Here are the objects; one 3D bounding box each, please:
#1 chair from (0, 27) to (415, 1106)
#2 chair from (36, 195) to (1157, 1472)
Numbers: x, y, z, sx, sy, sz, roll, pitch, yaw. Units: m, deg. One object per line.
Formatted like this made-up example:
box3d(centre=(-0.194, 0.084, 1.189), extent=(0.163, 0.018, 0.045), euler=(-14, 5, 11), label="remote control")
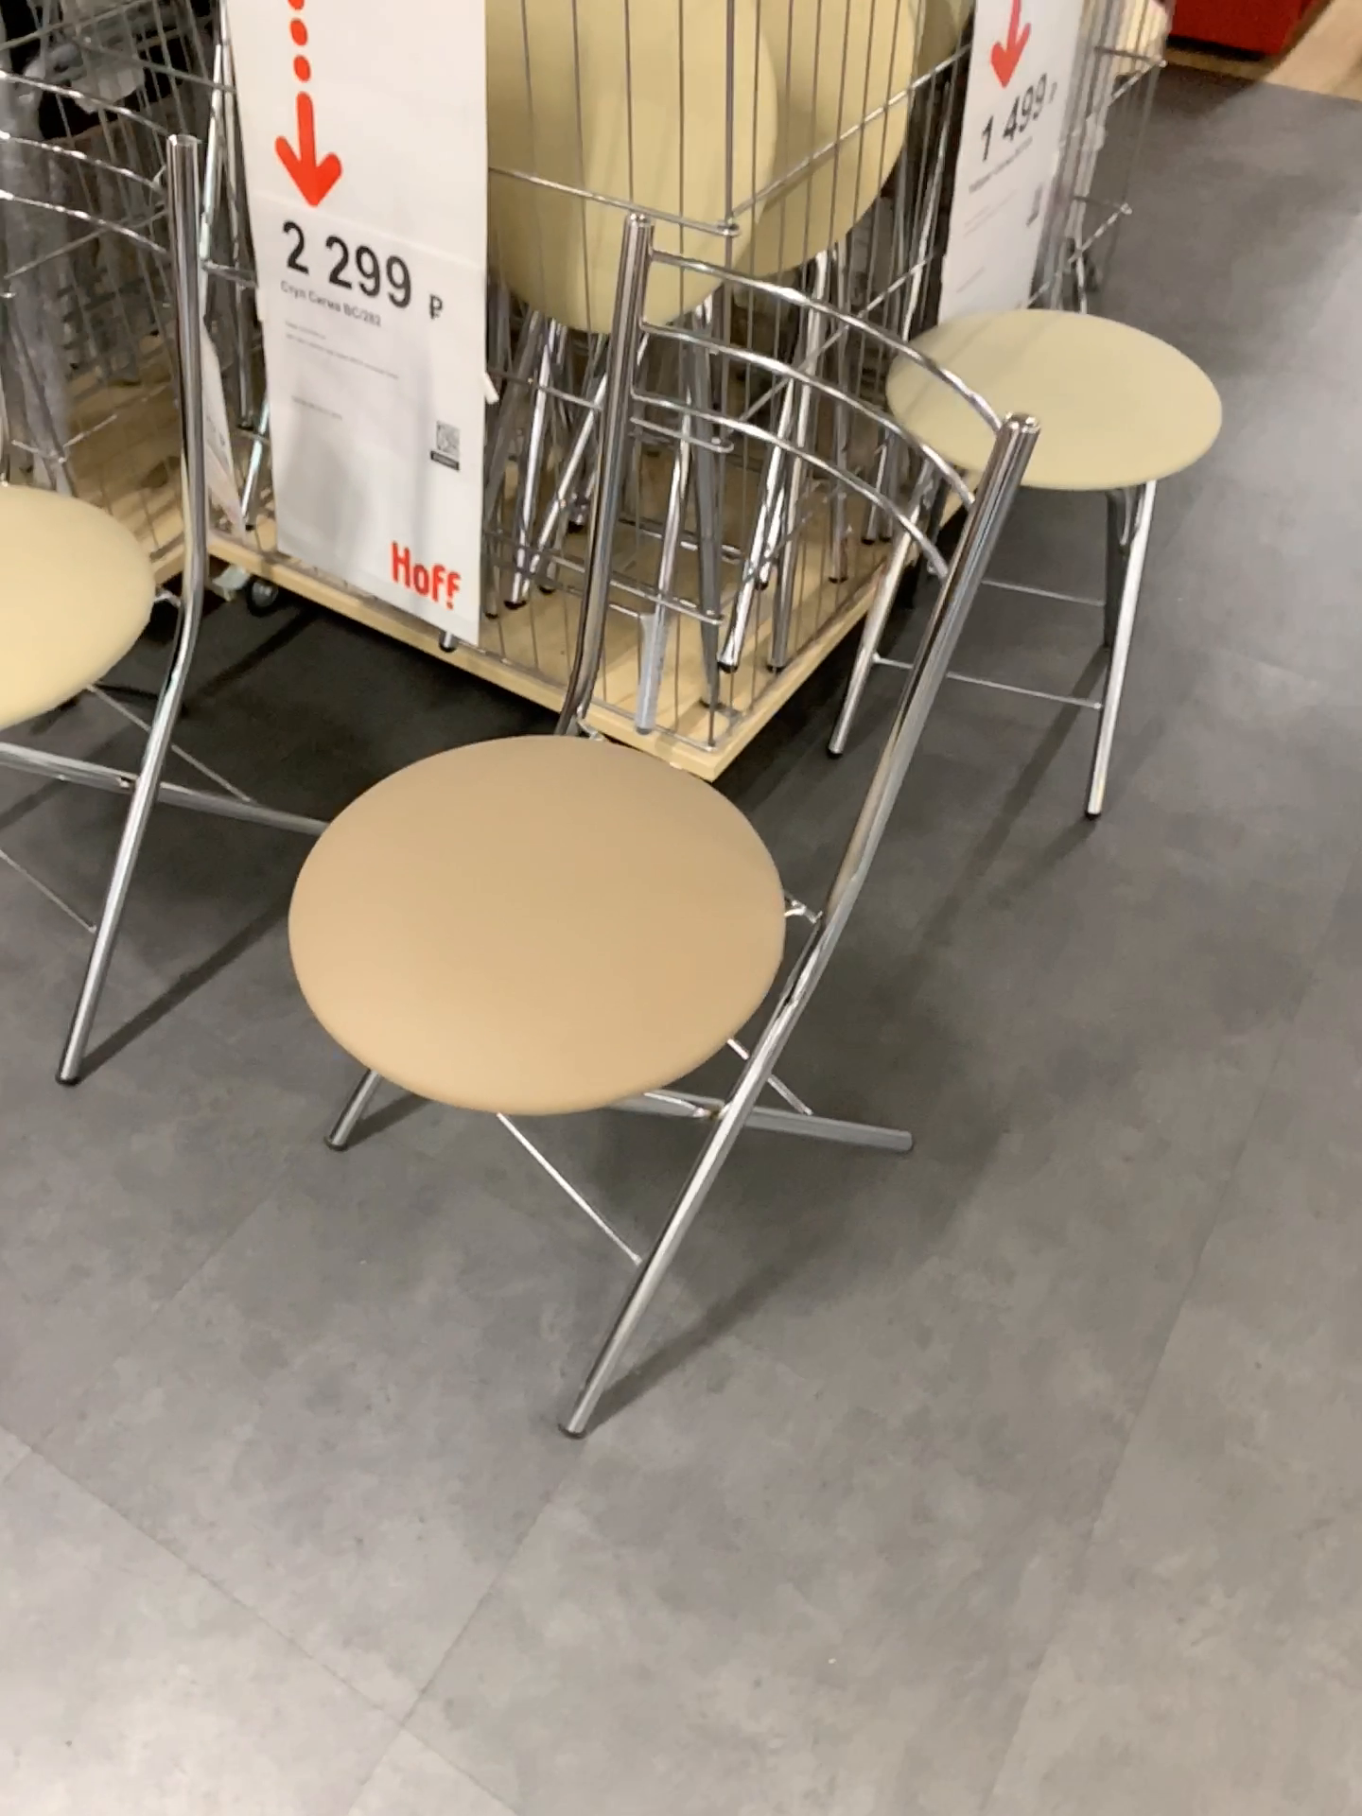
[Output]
box3d(centre=(-0.680, -0.313, 1.393), extent=(0.521, 0.776, 0.492), euler=(29, 55, 22), label="chair")
box3d(centre=(-0.049, -0.020, 1.127), extent=(0.491, 0.796, 0.441), euler=(-35, 58, -26), label="chair")
